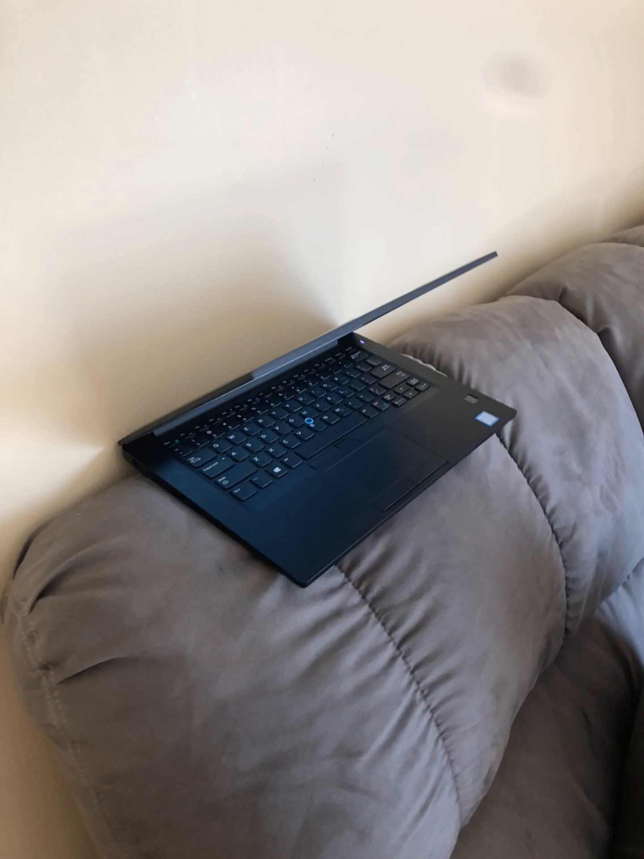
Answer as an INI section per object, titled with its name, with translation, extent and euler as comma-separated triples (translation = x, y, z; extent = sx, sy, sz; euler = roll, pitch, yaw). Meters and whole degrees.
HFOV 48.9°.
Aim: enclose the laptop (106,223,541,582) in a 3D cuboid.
[laptop]
translation = 0.016, -0.056, 0.633
extent = 0.213, 0.128, 0.321
euler = 28, 41, 30
